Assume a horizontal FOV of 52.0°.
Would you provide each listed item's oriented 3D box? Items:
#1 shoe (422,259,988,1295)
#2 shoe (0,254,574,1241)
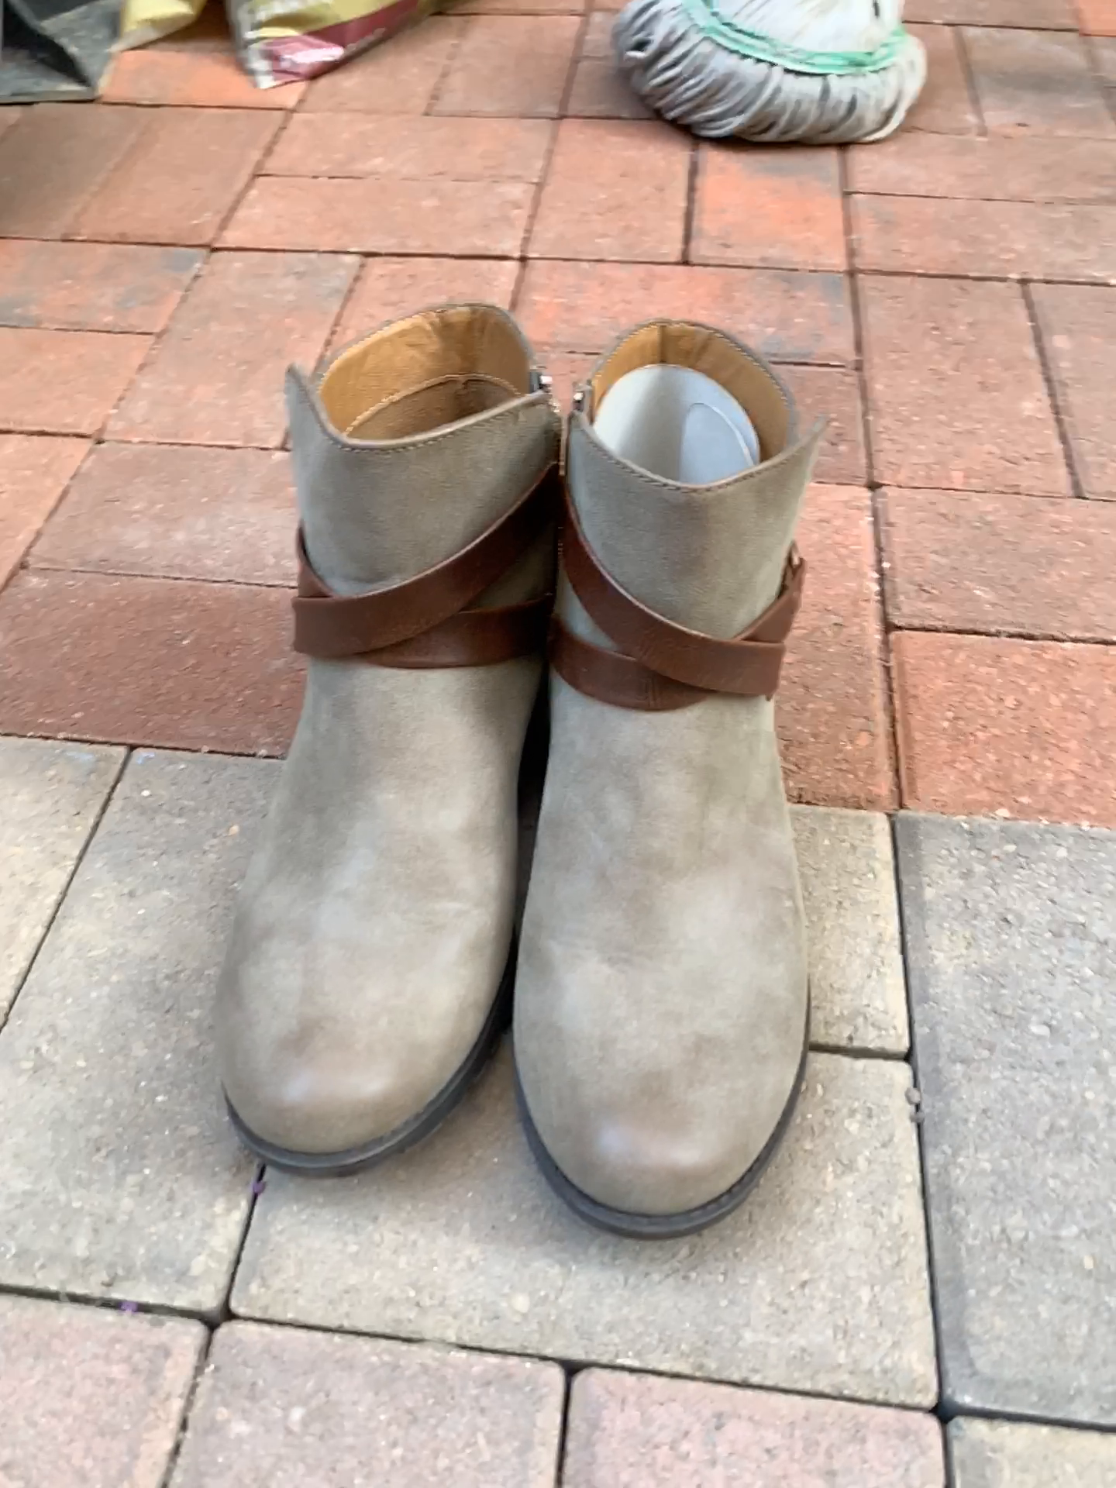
[{"bbox_3d":[0.038,0.001,0.337,0.095,0.165,0.252,3,51,5],"label":"shoe"},{"bbox_3d":[-0.058,-0.006,0.344,0.095,0.165,0.240,4,51,6],"label":"shoe"}]
